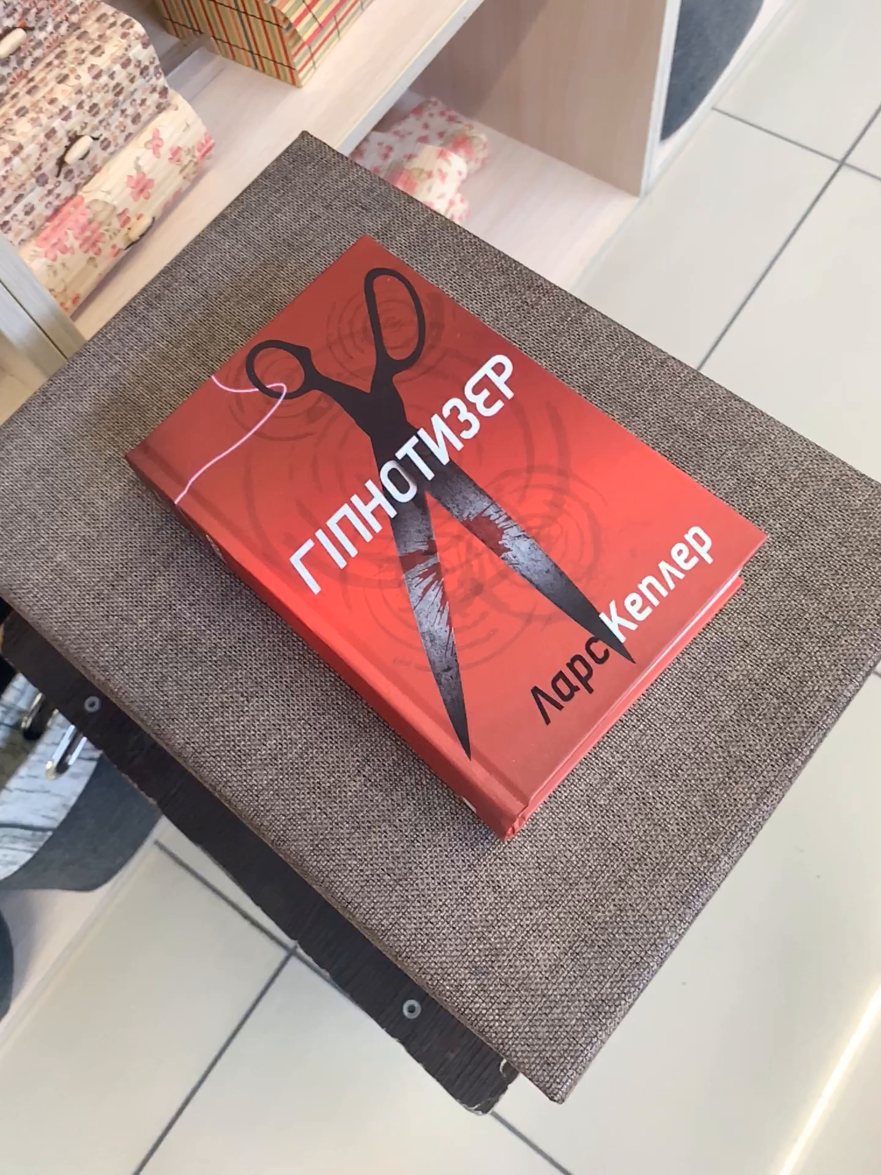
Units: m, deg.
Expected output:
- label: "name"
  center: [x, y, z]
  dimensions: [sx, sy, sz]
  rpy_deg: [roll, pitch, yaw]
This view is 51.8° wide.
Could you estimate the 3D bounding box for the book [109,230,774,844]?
- label: "book"
  center: [-0.003, -0.024, 0.340]
  dimensions: [0.195, 0.050, 0.132]
  rpy_deg: [40, 79, 16]
